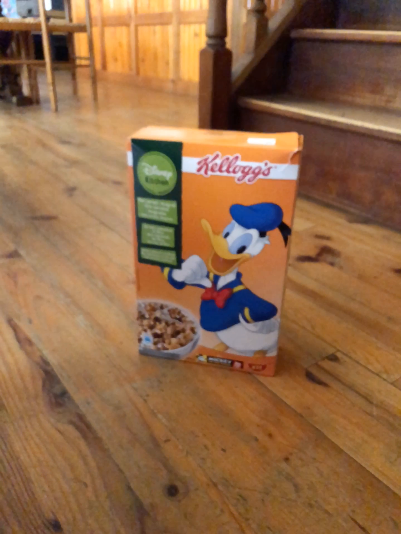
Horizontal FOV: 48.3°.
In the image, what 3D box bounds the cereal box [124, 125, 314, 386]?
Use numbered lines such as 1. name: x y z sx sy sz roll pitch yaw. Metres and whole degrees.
1. cereal box: 0.020 -0.013 0.570 0.200 0.298 0.091 8 27 11
